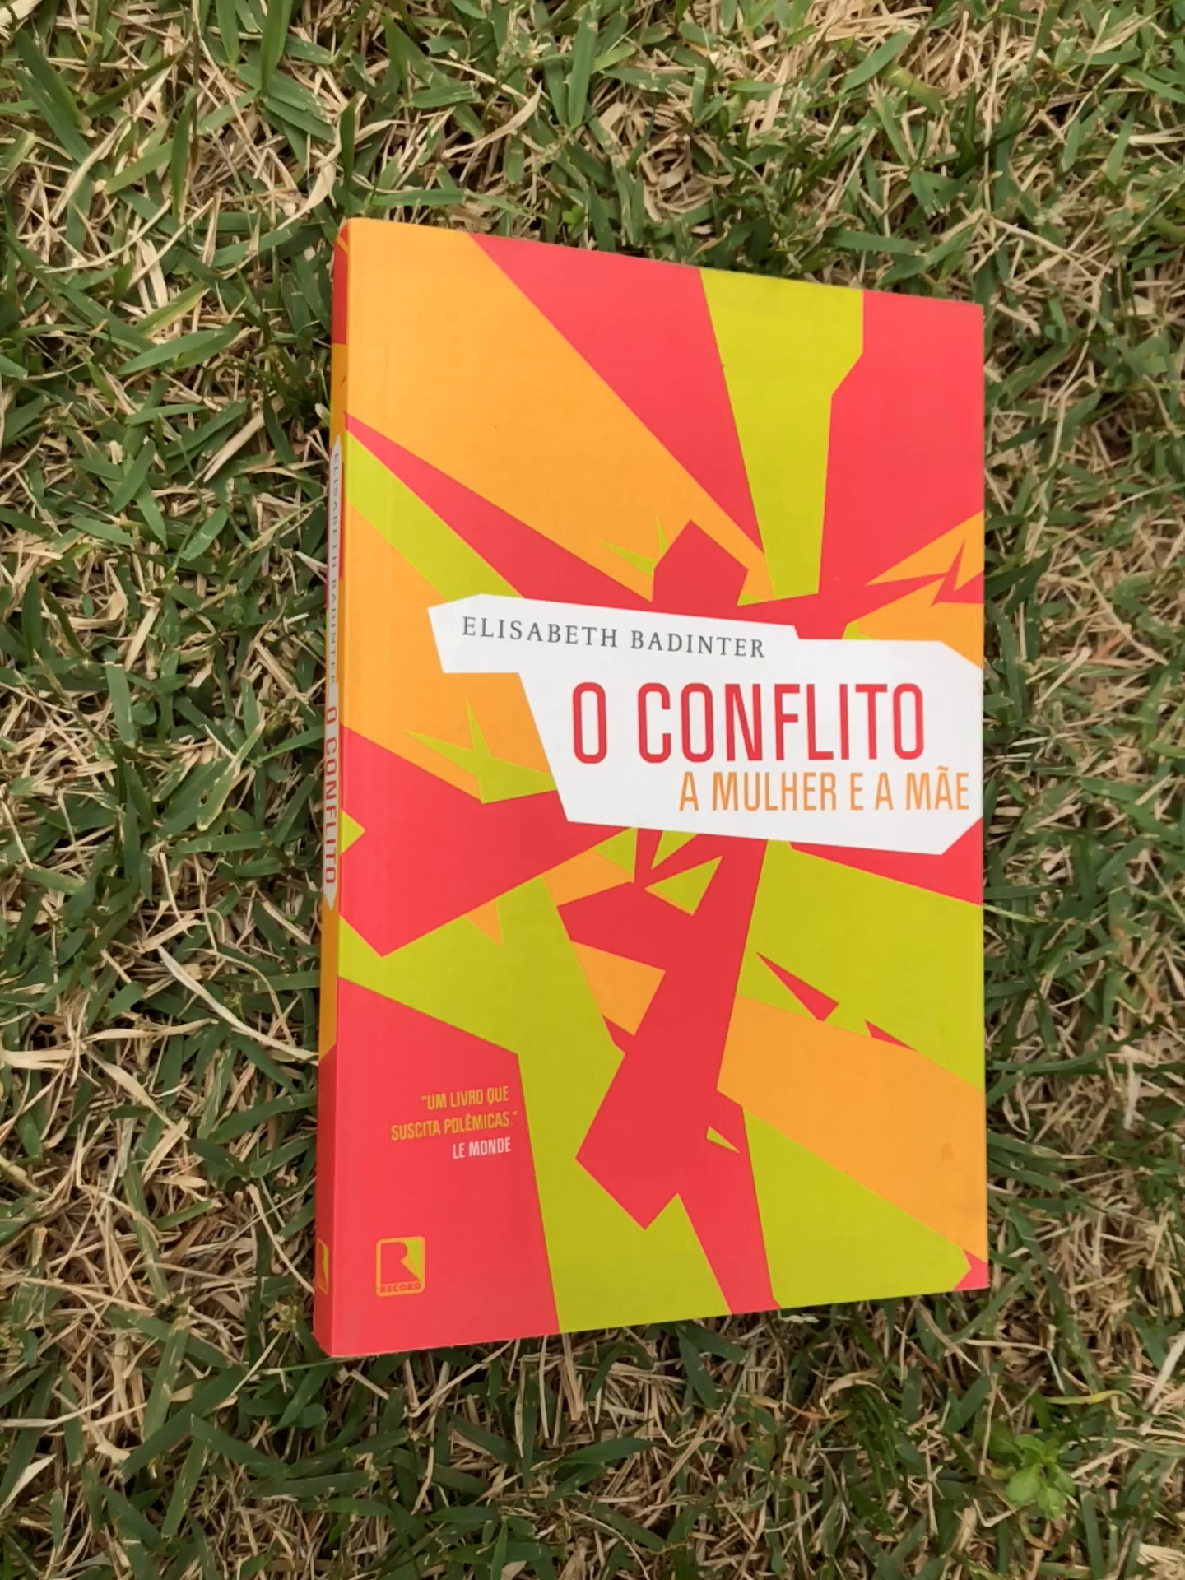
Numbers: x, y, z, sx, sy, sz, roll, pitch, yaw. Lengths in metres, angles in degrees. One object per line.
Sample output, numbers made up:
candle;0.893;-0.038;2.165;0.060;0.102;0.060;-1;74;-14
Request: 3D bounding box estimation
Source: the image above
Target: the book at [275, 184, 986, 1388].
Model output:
book;0.010;-0.001;0.247;0.130;0.020;0.200;1;87;-16
